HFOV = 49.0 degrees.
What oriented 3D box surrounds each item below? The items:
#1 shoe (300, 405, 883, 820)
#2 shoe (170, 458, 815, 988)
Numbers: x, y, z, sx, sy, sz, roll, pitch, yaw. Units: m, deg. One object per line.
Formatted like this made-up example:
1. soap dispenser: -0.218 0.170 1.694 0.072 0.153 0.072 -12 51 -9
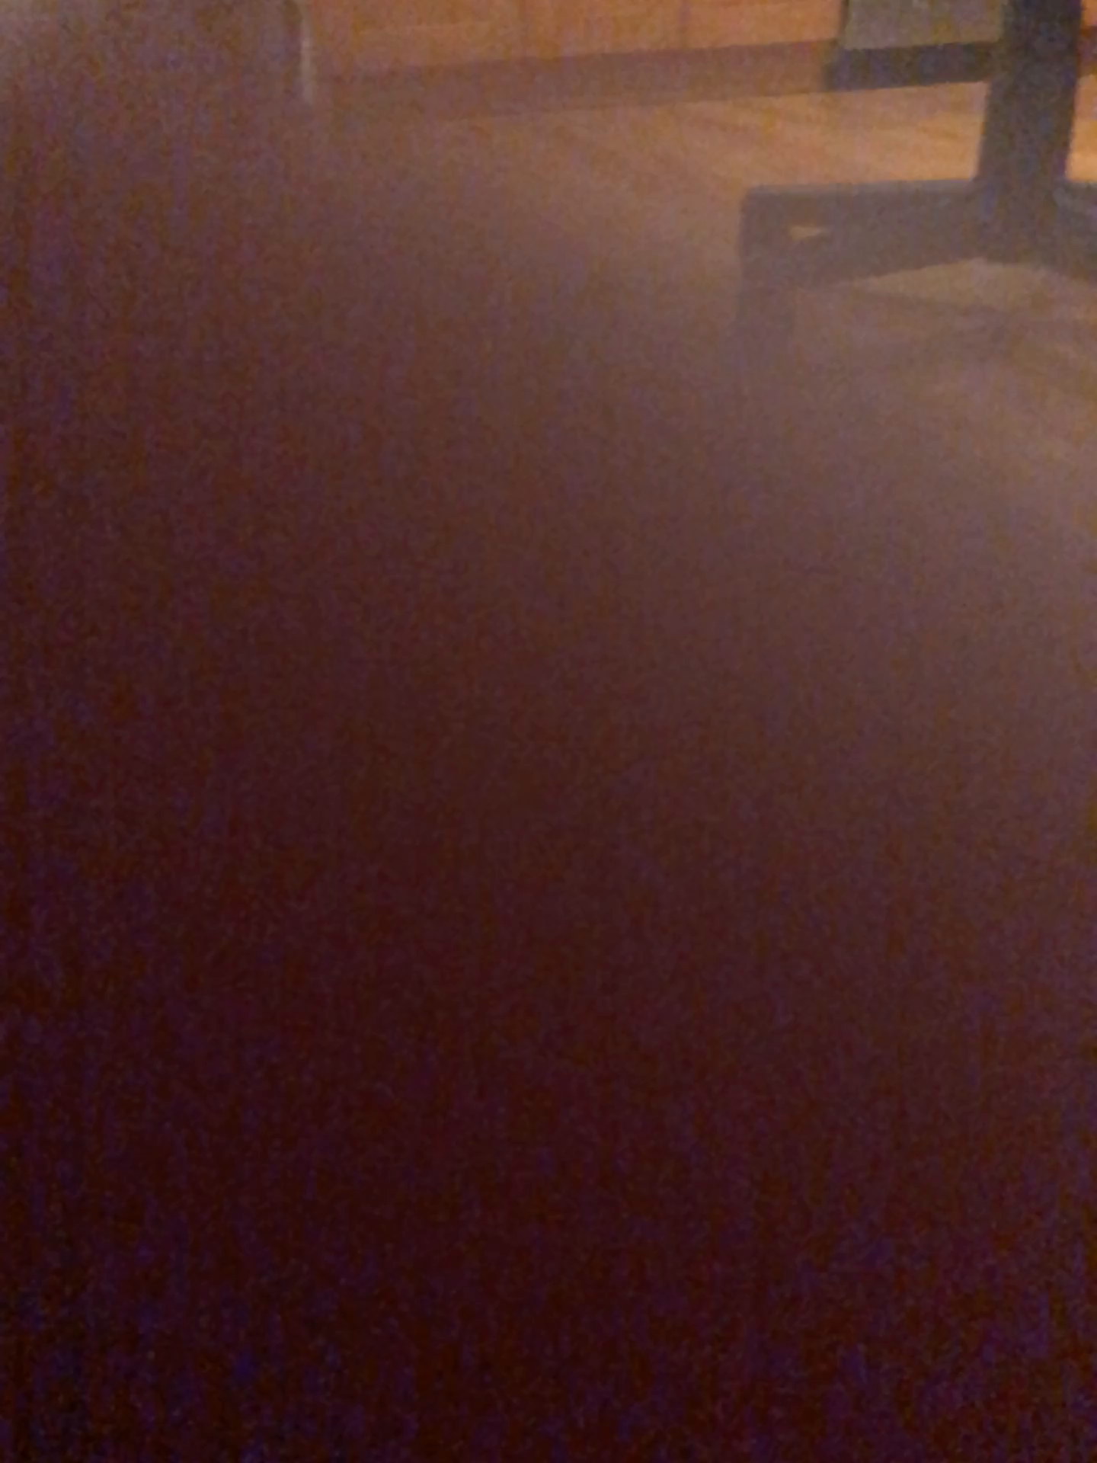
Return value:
1. shoe: 0.024 -0.062 0.529 0.205 0.089 0.140 12 43 22
2. shoe: -0.016 -0.011 0.434 0.195 0.128 0.090 12 36 22
